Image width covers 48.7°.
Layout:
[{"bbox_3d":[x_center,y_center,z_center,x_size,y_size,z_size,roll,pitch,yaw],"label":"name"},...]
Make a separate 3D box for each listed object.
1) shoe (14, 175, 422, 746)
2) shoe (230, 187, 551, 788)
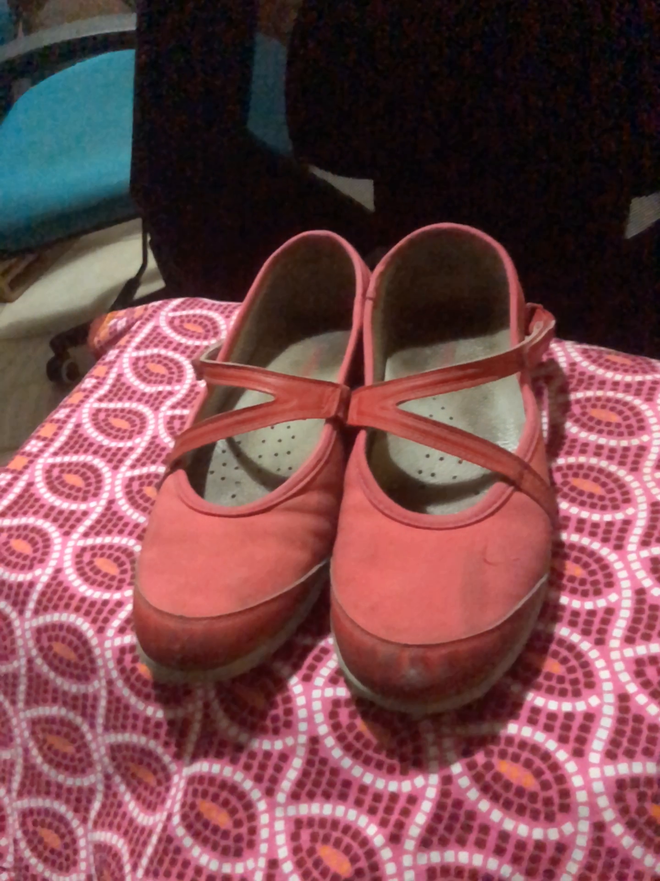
[{"bbox_3d":[-0.027,-0.013,0.383,0.110,0.099,0.292,1,49,16],"label":"shoe"},{"bbox_3d":[0.052,-0.001,0.379,0.110,0.099,0.302,0,49,15],"label":"shoe"}]
